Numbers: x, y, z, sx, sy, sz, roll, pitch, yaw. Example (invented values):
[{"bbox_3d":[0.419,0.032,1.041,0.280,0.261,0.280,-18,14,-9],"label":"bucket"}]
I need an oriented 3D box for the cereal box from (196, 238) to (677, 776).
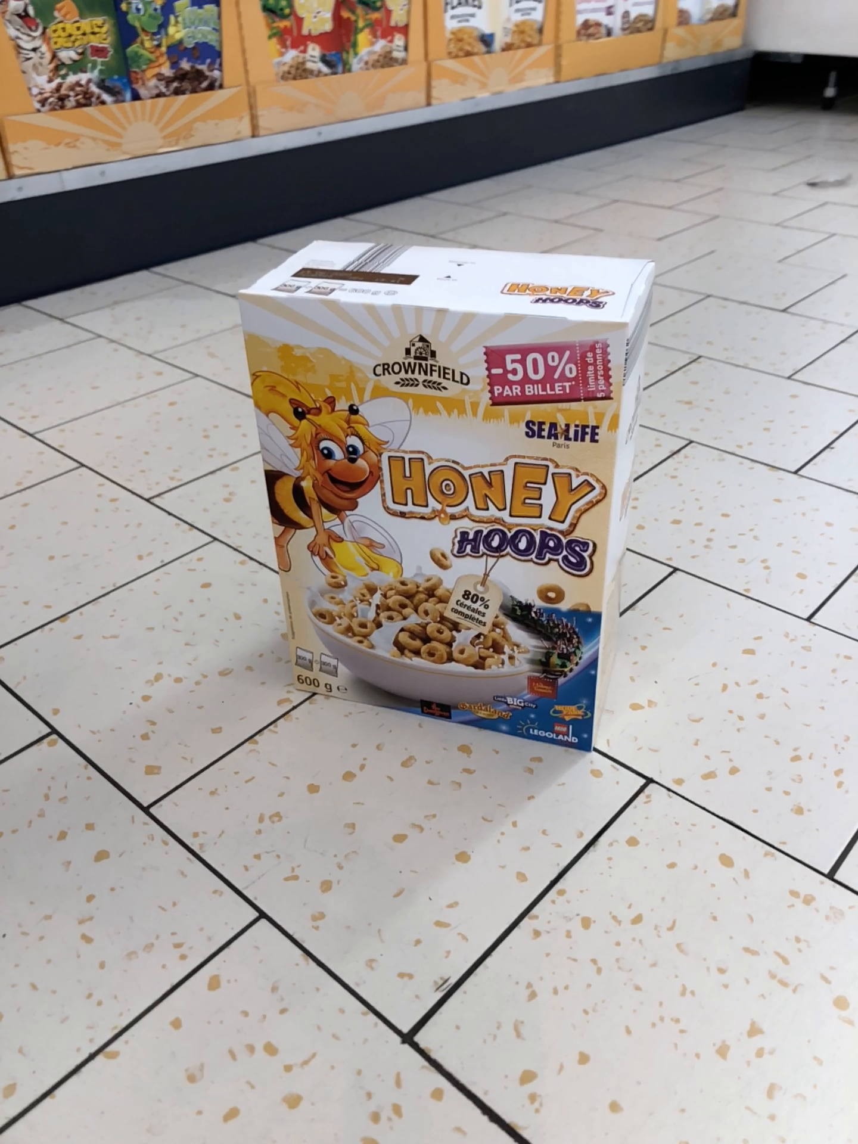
[{"bbox_3d":[0.010,-0.039,0.528,0.210,0.248,0.111,10,34,17],"label":"cereal box"}]
